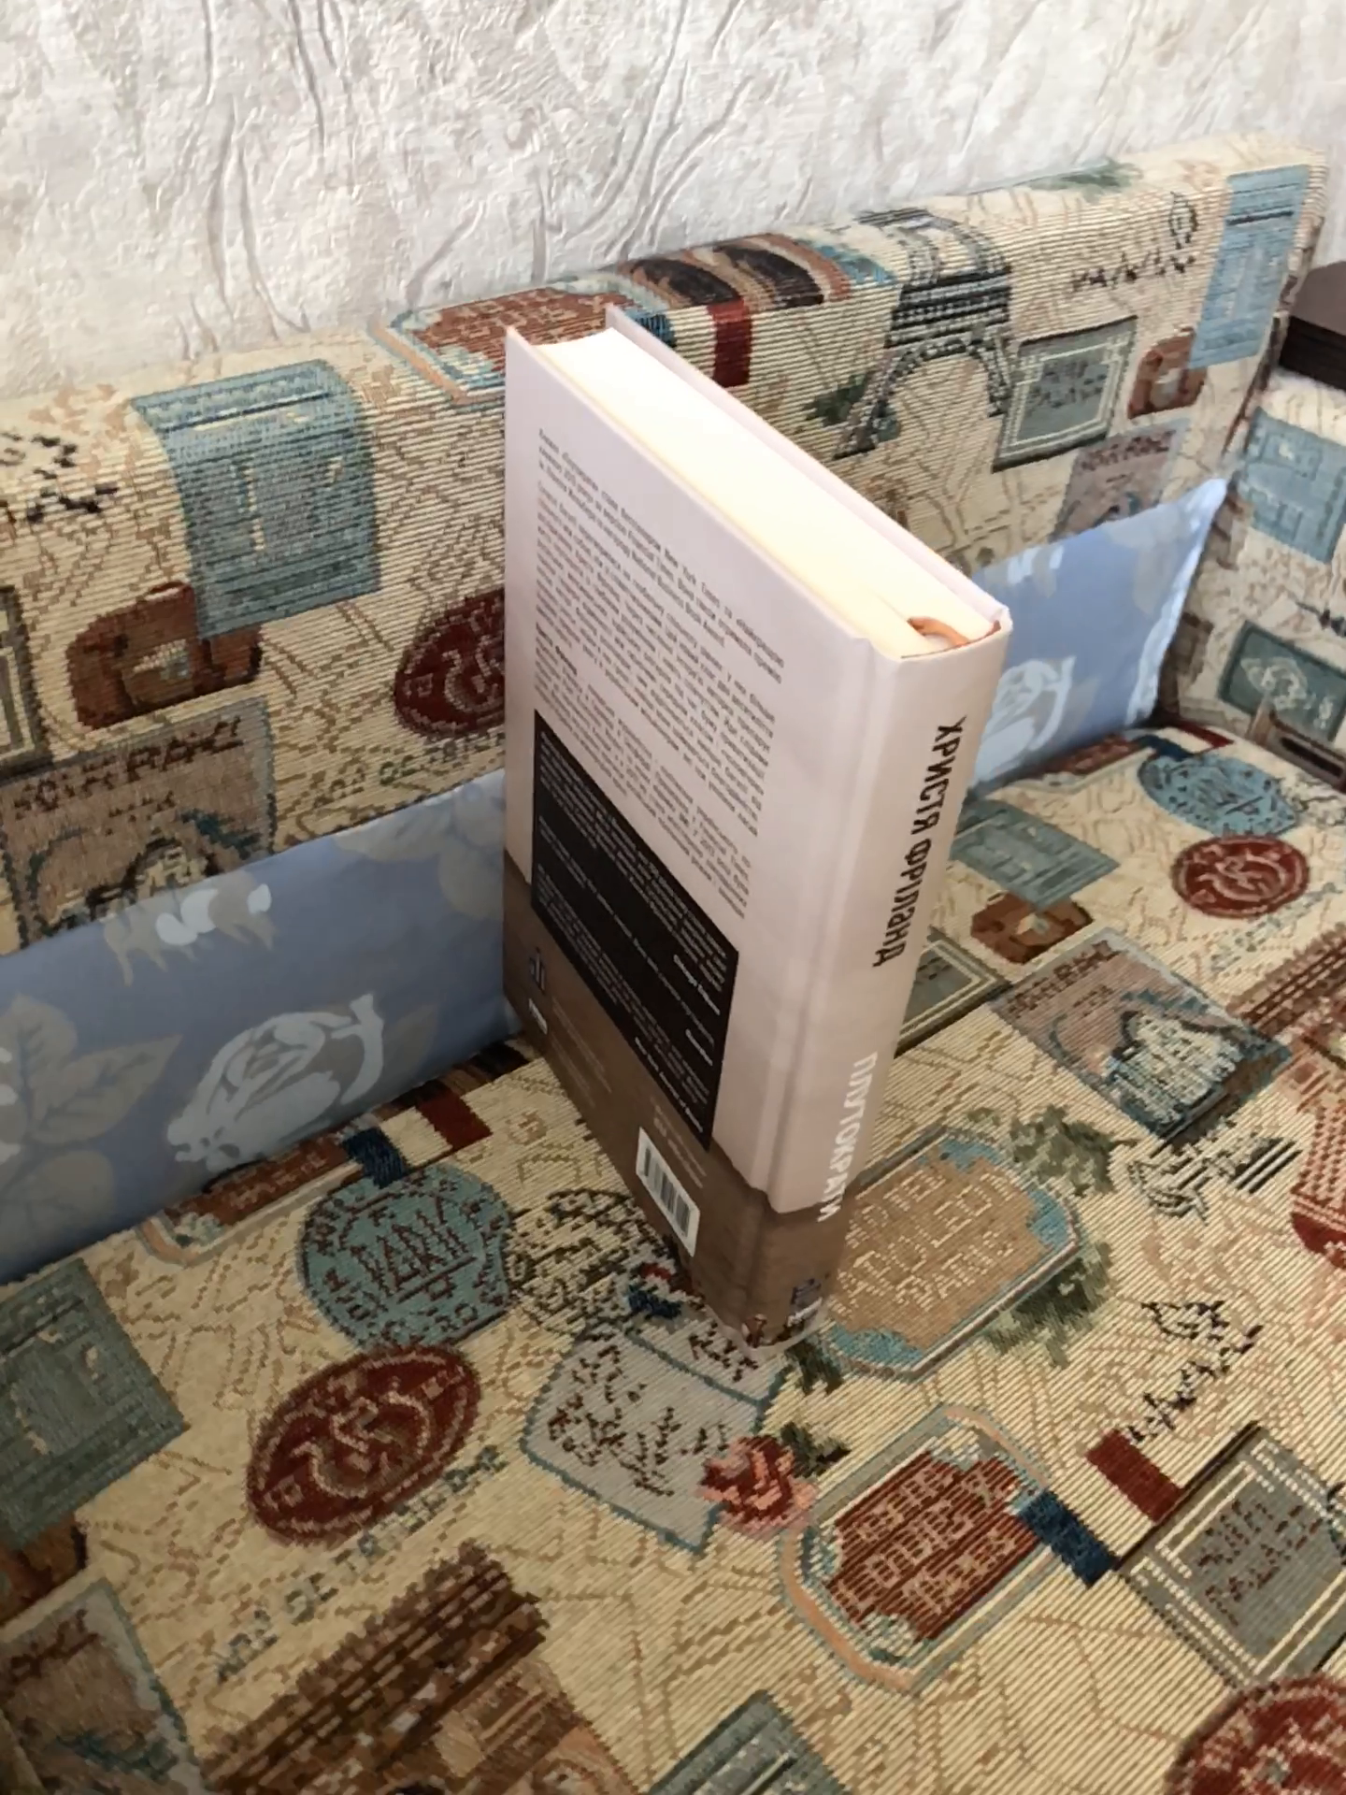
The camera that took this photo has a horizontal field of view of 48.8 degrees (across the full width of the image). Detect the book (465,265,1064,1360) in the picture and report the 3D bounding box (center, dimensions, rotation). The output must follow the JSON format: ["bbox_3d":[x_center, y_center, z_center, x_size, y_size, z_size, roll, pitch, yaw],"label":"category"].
[{"bbox_3d":[0.002,-0.017,0.378,0.040,0.219,0.171,-18,47,-24],"label":"book"}]
